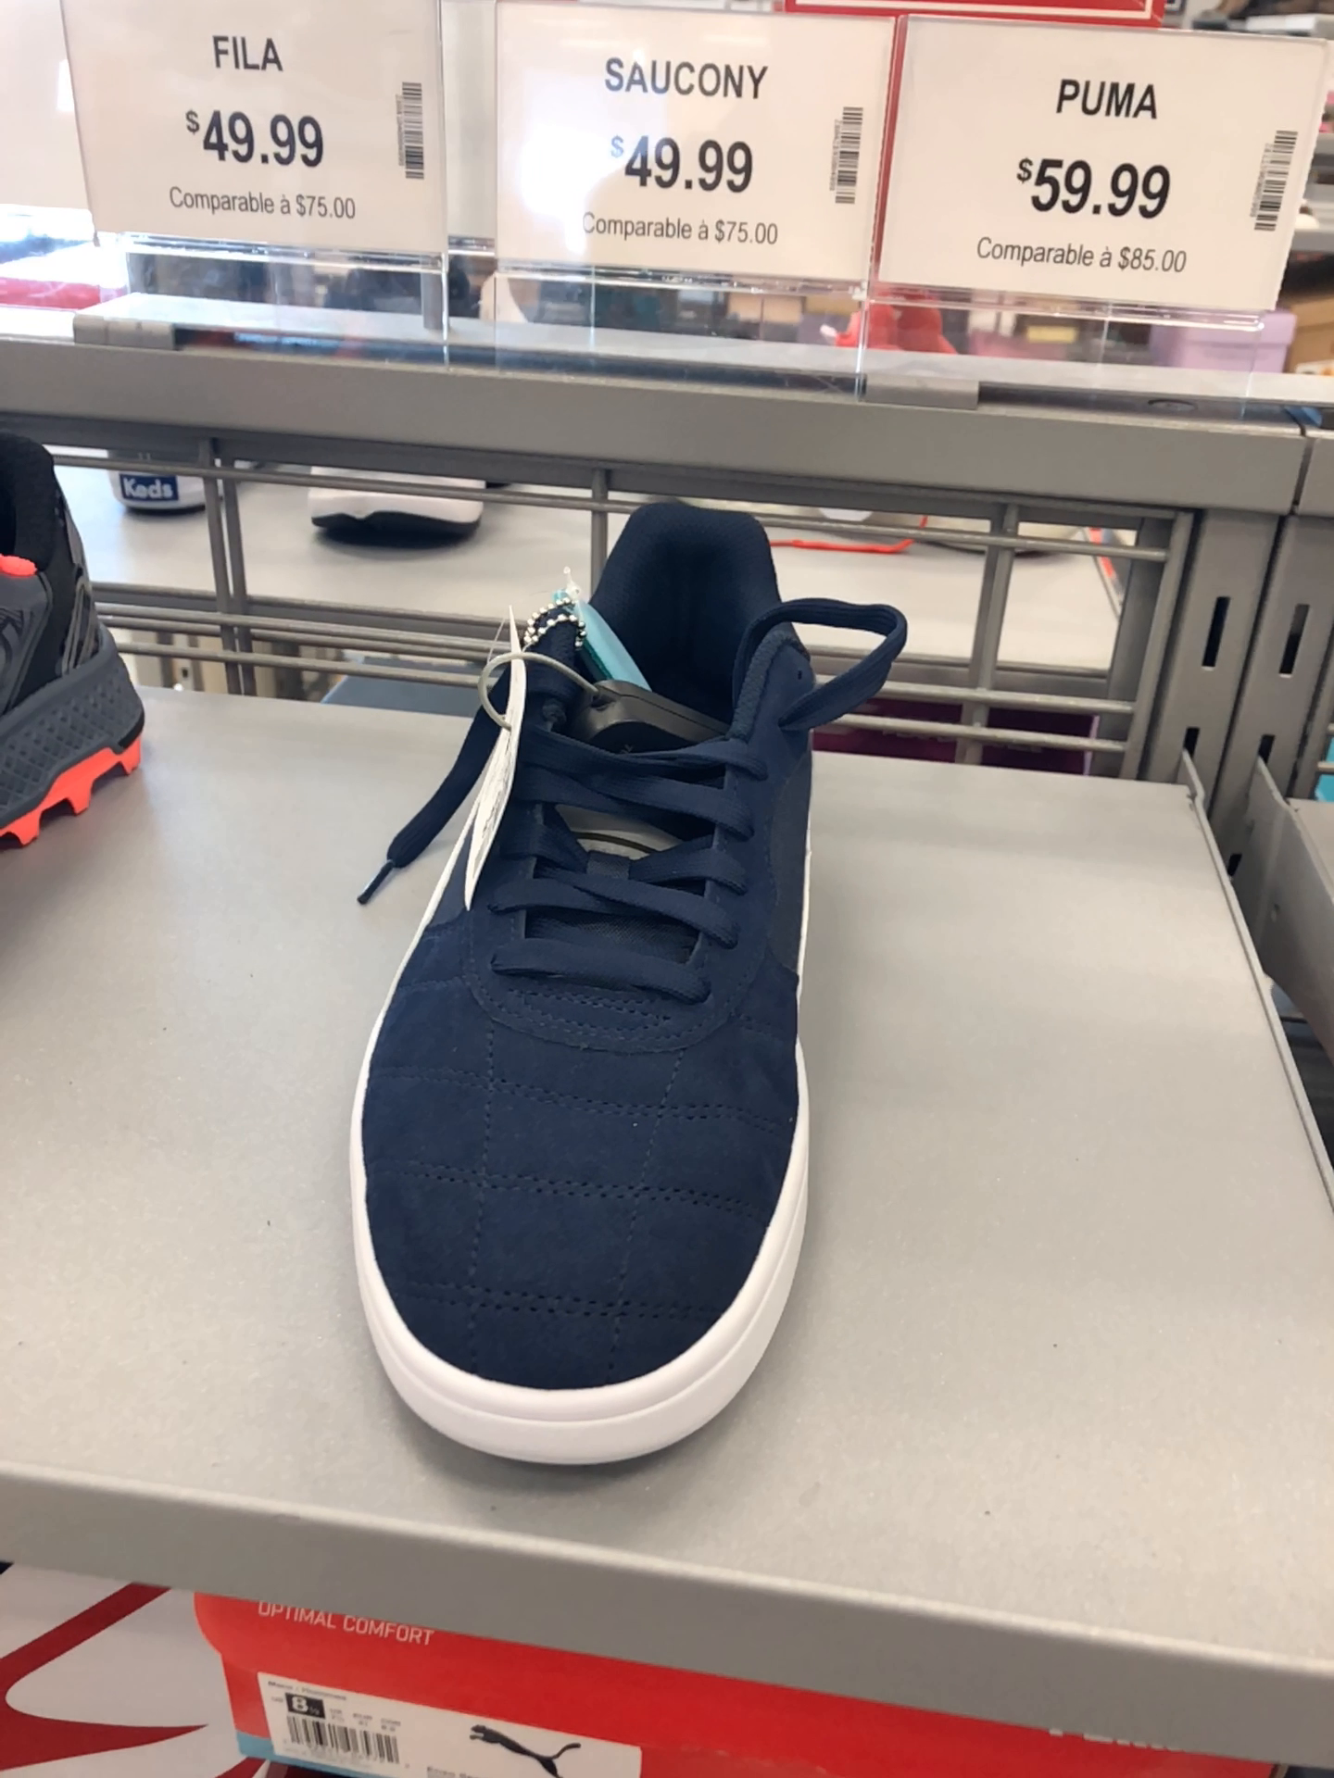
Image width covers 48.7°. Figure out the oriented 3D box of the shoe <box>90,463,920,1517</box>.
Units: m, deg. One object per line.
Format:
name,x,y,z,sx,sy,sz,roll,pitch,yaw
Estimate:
shoe,-0.013,-0.005,0.341,0.119,0.119,0.242,5,30,5
